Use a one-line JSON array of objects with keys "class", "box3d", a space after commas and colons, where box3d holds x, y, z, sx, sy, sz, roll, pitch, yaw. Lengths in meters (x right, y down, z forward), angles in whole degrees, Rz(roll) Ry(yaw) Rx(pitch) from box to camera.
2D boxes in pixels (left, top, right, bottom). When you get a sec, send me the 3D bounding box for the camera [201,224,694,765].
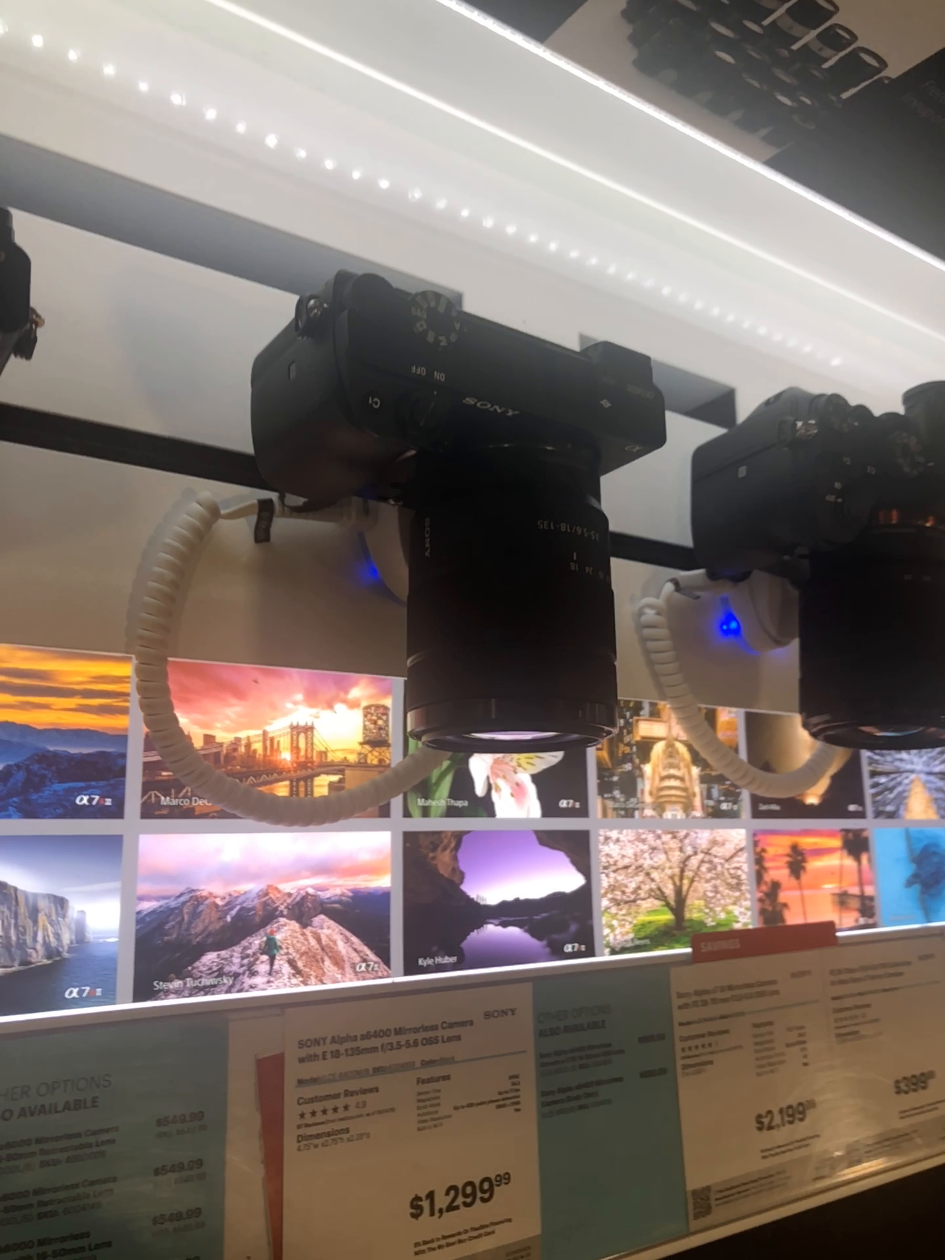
[{"class": "camera", "box3d": [-0.004, -0.029, 0.328, 0.131, 0.070, 0.130, 9, 75, -34]}]
